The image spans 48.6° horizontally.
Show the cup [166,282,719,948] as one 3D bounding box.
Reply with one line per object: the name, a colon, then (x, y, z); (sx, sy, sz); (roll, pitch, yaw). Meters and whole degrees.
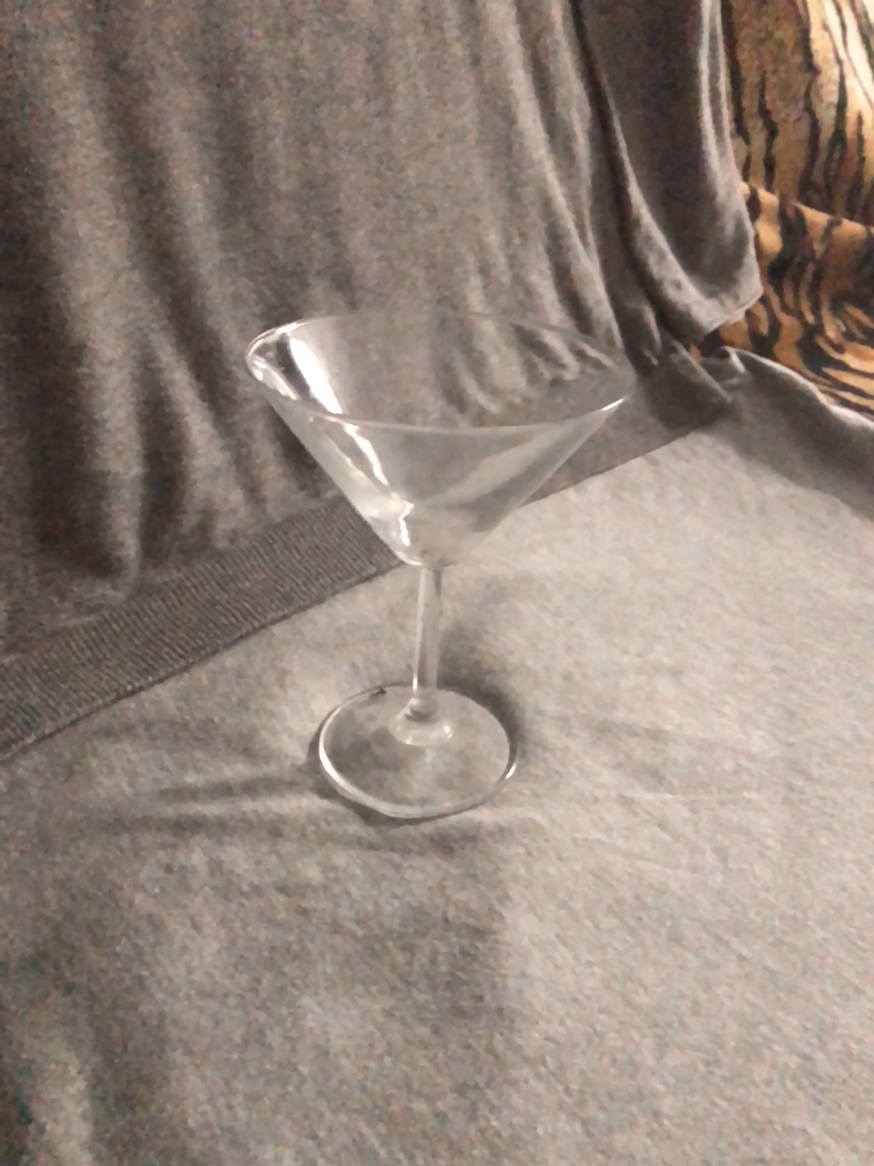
cup: (-0.007, 0.000, 0.314); (0.114, 0.157, 0.112); (6, 29, -3)
